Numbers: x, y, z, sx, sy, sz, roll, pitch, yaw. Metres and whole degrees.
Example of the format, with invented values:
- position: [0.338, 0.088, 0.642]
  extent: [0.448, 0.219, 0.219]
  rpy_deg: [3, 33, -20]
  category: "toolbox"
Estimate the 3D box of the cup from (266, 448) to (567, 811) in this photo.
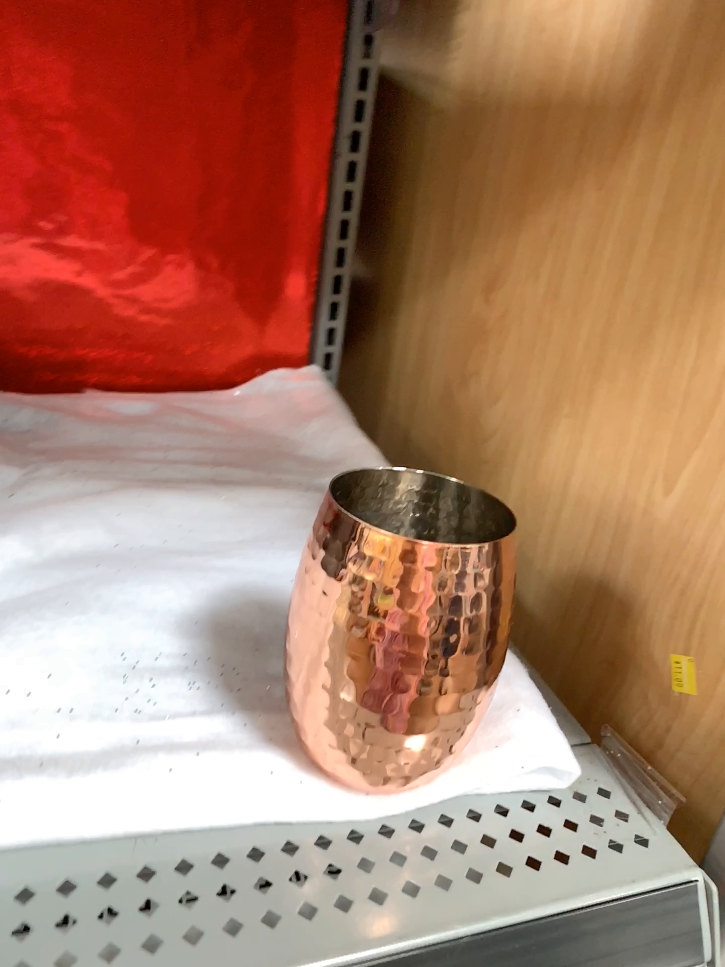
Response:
- position: [0.012, 0.052, 0.288]
  extent: [0.078, 0.104, 0.080]
  rpy_deg: [8, 23, -3]
  category: "cup"
